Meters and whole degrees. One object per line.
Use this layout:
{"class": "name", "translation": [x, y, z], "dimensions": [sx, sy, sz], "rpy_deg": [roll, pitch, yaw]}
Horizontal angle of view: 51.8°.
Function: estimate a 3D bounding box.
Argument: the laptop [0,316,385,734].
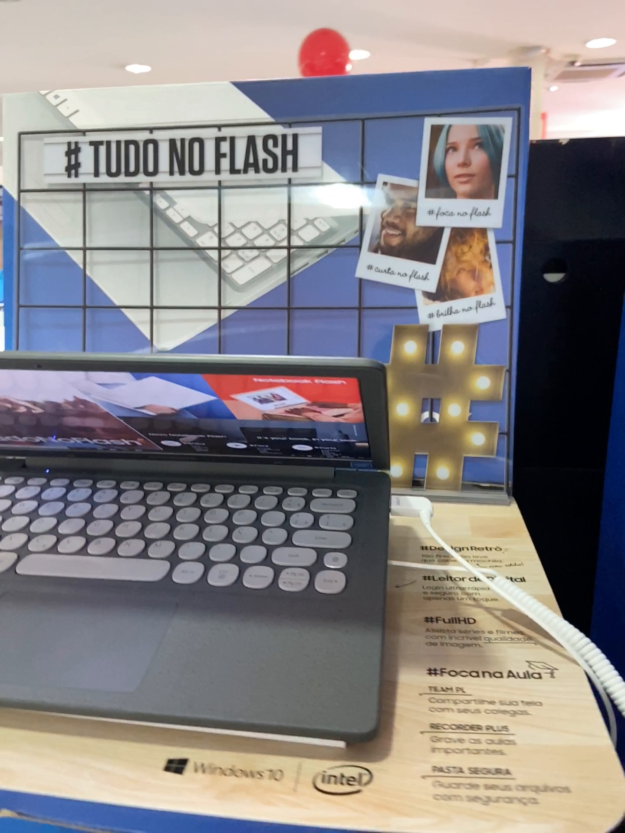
{"class": "laptop", "translation": [-0.122, 0.031, 0.378], "dimensions": [0.323, 0.114, 0.212], "rpy_deg": [1, 24, 8]}
